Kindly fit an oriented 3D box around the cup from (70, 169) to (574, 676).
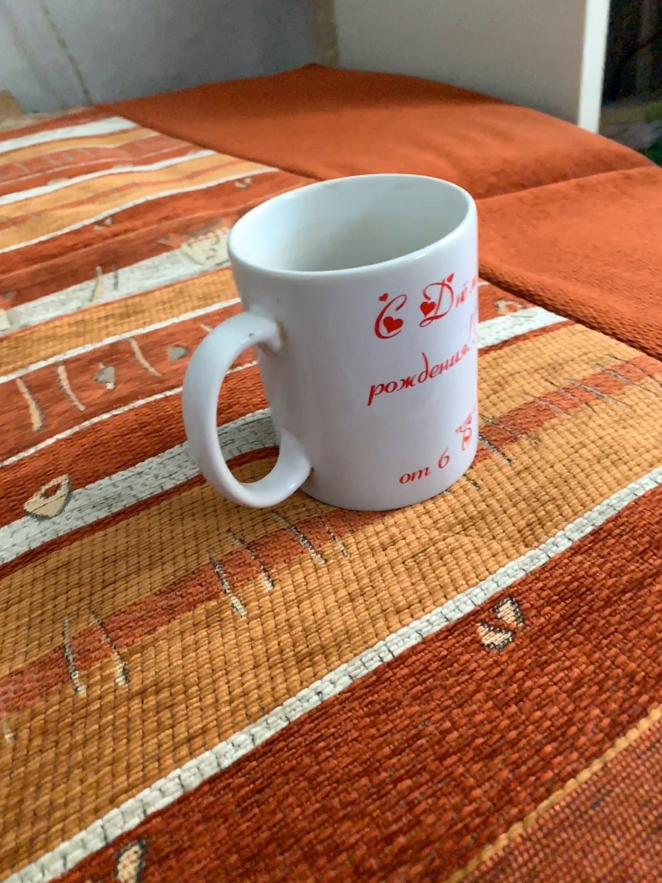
[{"bbox_3d":[0.005,-0.016,0.208,0.110,0.089,0.080,-35,43,-30],"label":"cup"}]
